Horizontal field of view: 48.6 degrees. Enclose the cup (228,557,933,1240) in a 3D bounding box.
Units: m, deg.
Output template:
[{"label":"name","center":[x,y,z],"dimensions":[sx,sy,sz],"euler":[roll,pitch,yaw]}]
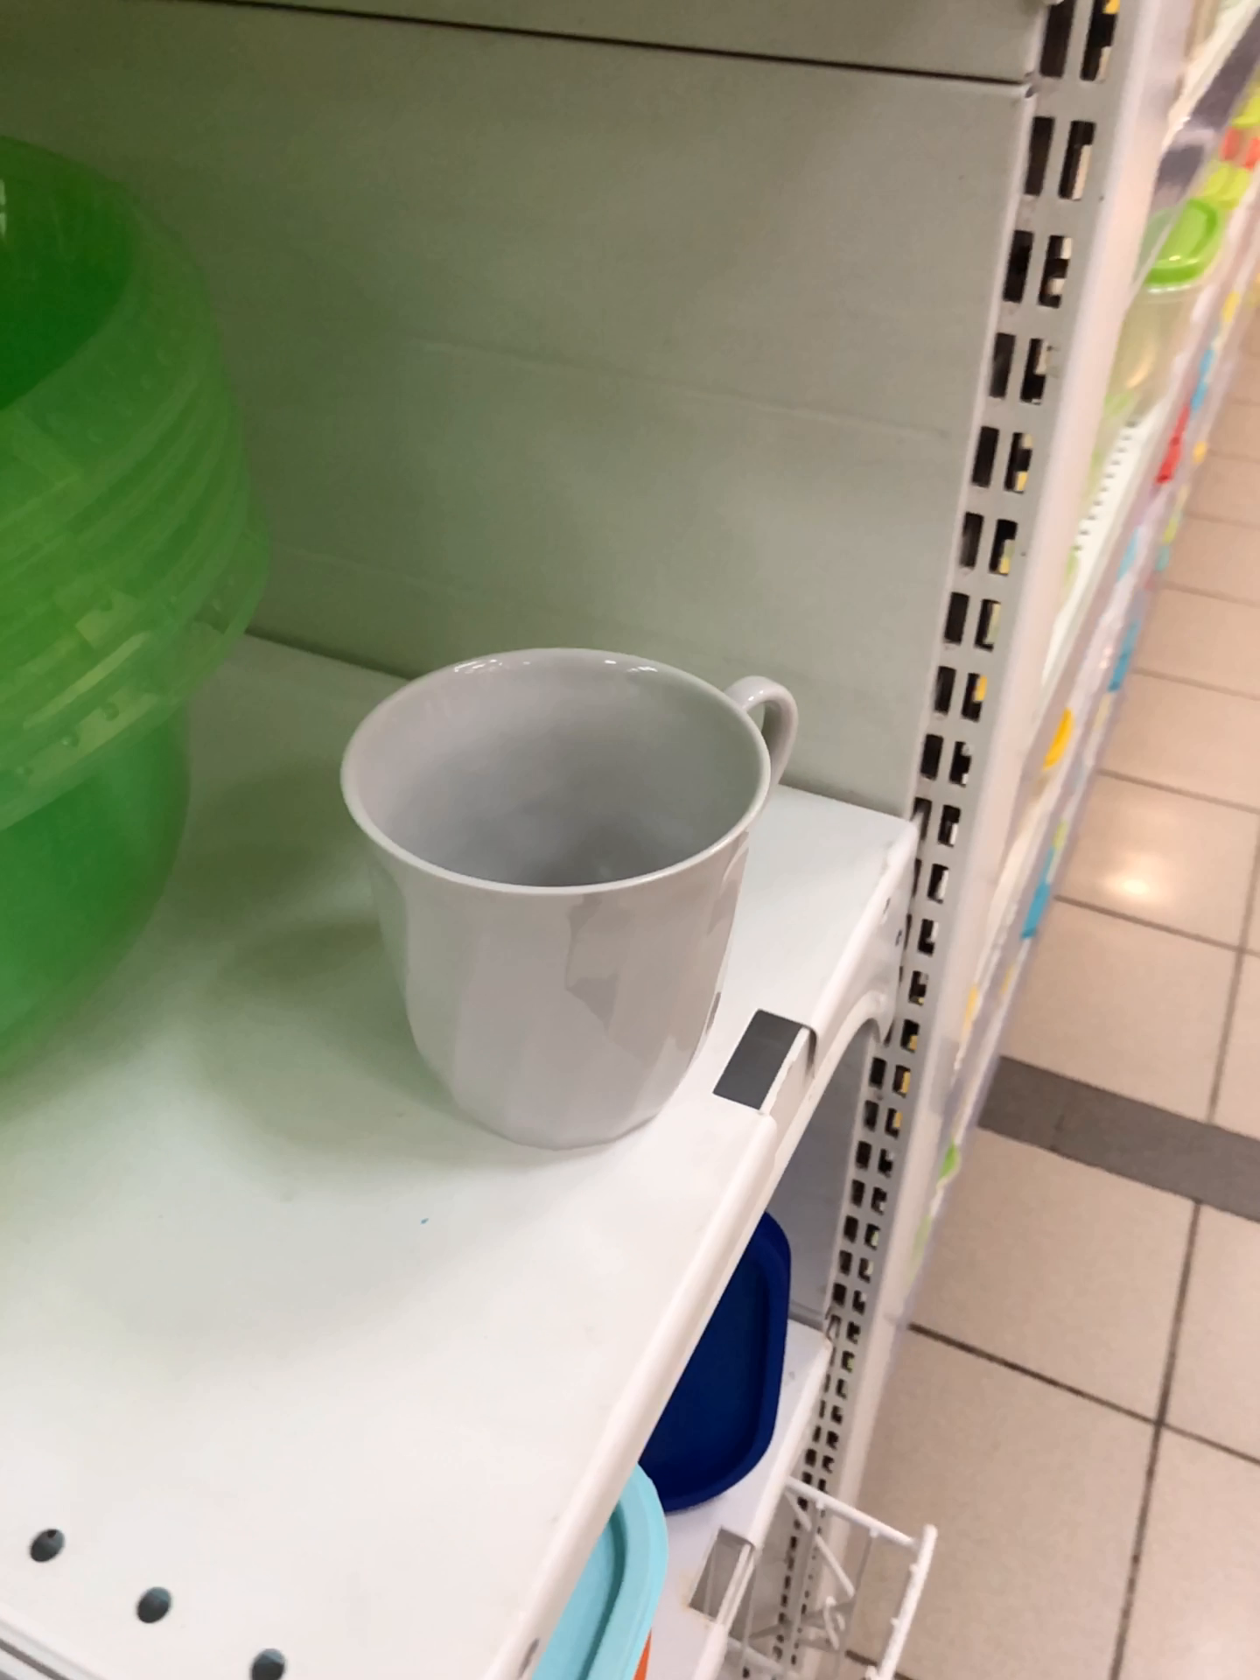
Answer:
[{"label":"cup","center":[-0.010,0.006,0.320],"dimensions":[0.119,0.080,0.090],"euler":[-27,47,-29]}]
